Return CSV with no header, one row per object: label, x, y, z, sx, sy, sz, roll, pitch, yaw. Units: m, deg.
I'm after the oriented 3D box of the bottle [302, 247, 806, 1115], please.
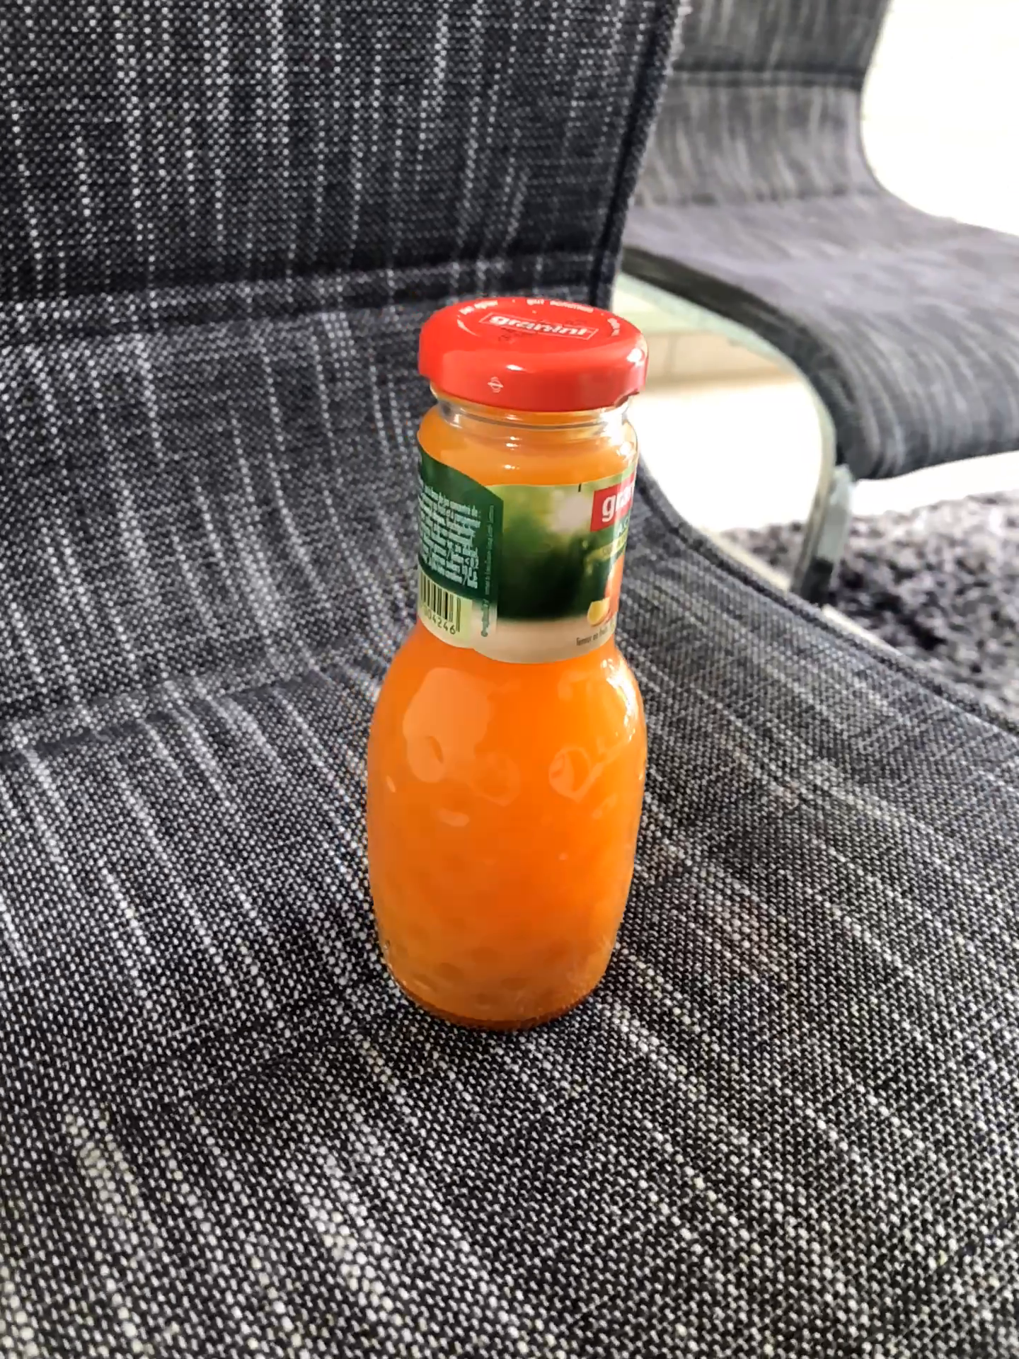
bottle,0.004,0.002,0.230,0.060,0.149,0.070,20,35,19
